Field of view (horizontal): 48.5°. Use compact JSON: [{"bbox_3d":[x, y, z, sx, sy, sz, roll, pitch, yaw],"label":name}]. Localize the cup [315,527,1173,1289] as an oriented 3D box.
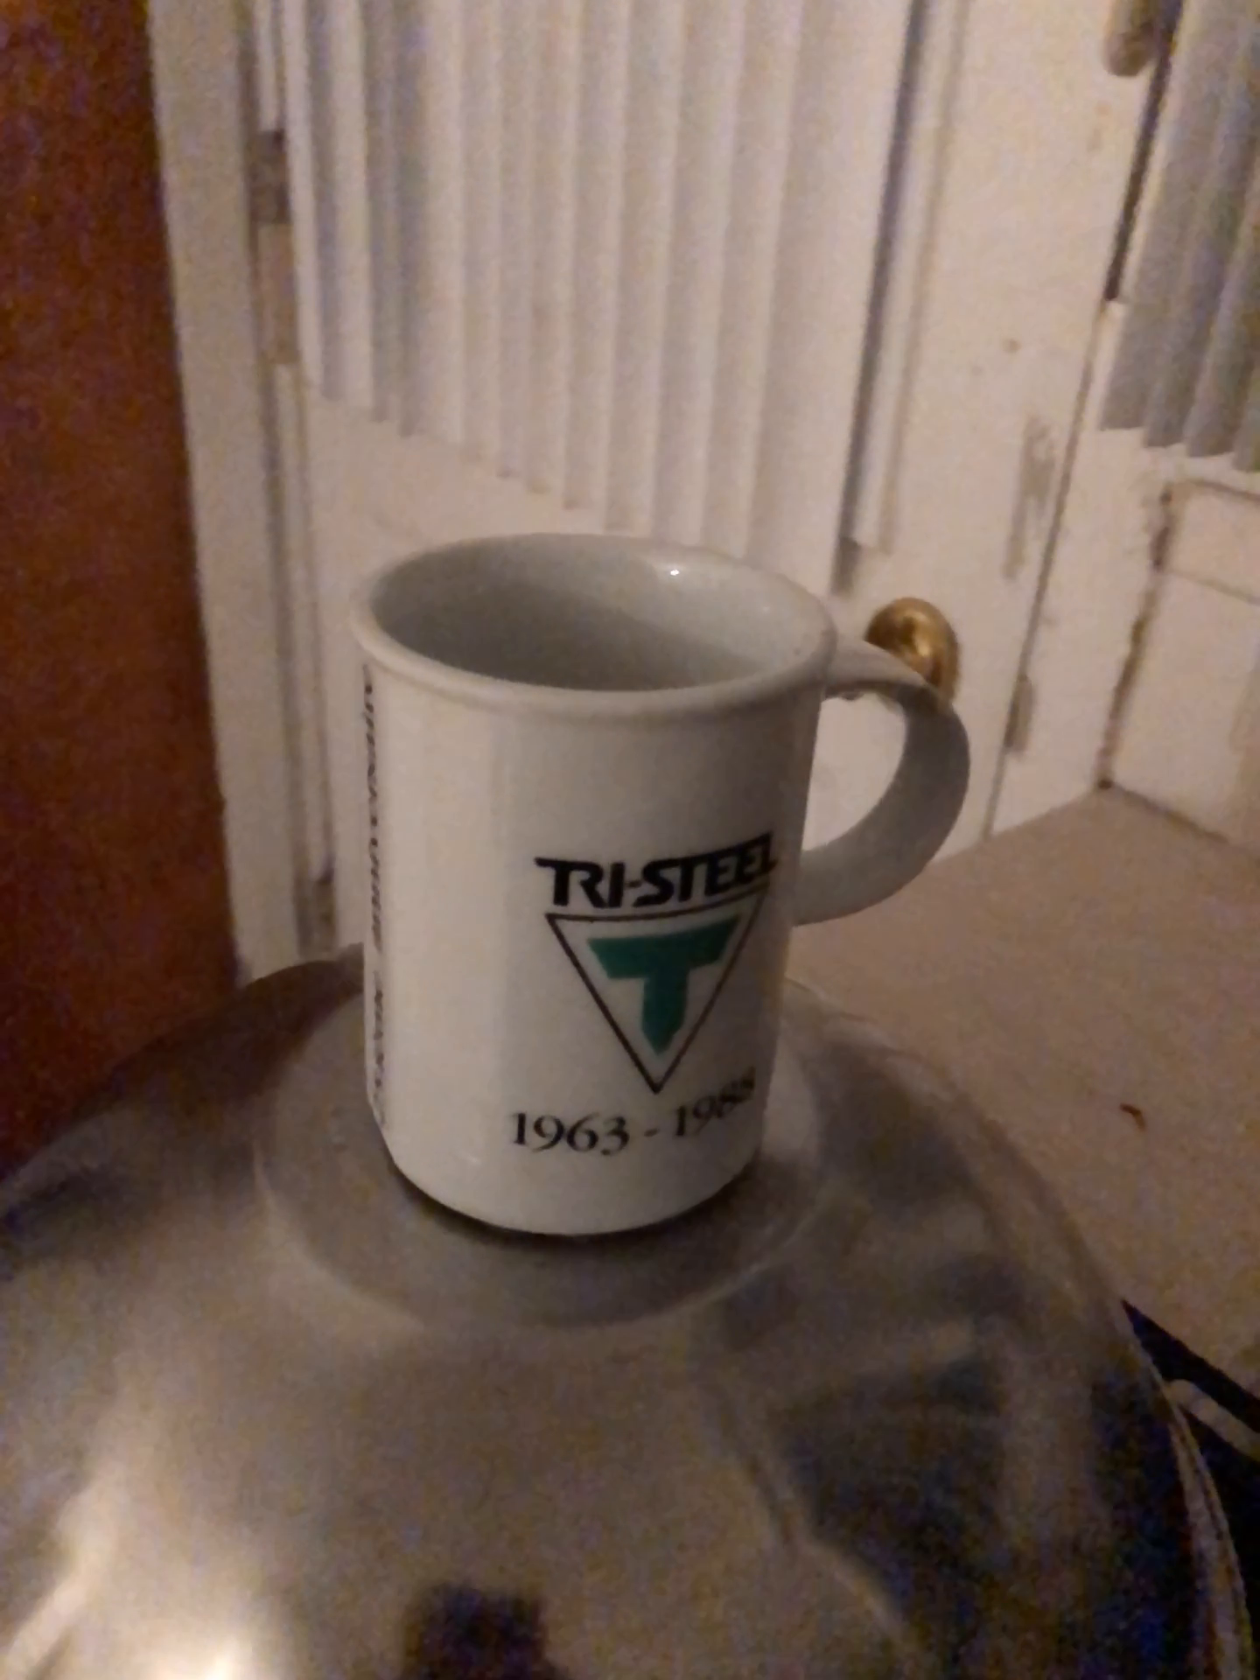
[{"bbox_3d":[0.009,0.007,0.238,0.116,0.099,0.071,-3,31,-13],"label":"cup"}]
